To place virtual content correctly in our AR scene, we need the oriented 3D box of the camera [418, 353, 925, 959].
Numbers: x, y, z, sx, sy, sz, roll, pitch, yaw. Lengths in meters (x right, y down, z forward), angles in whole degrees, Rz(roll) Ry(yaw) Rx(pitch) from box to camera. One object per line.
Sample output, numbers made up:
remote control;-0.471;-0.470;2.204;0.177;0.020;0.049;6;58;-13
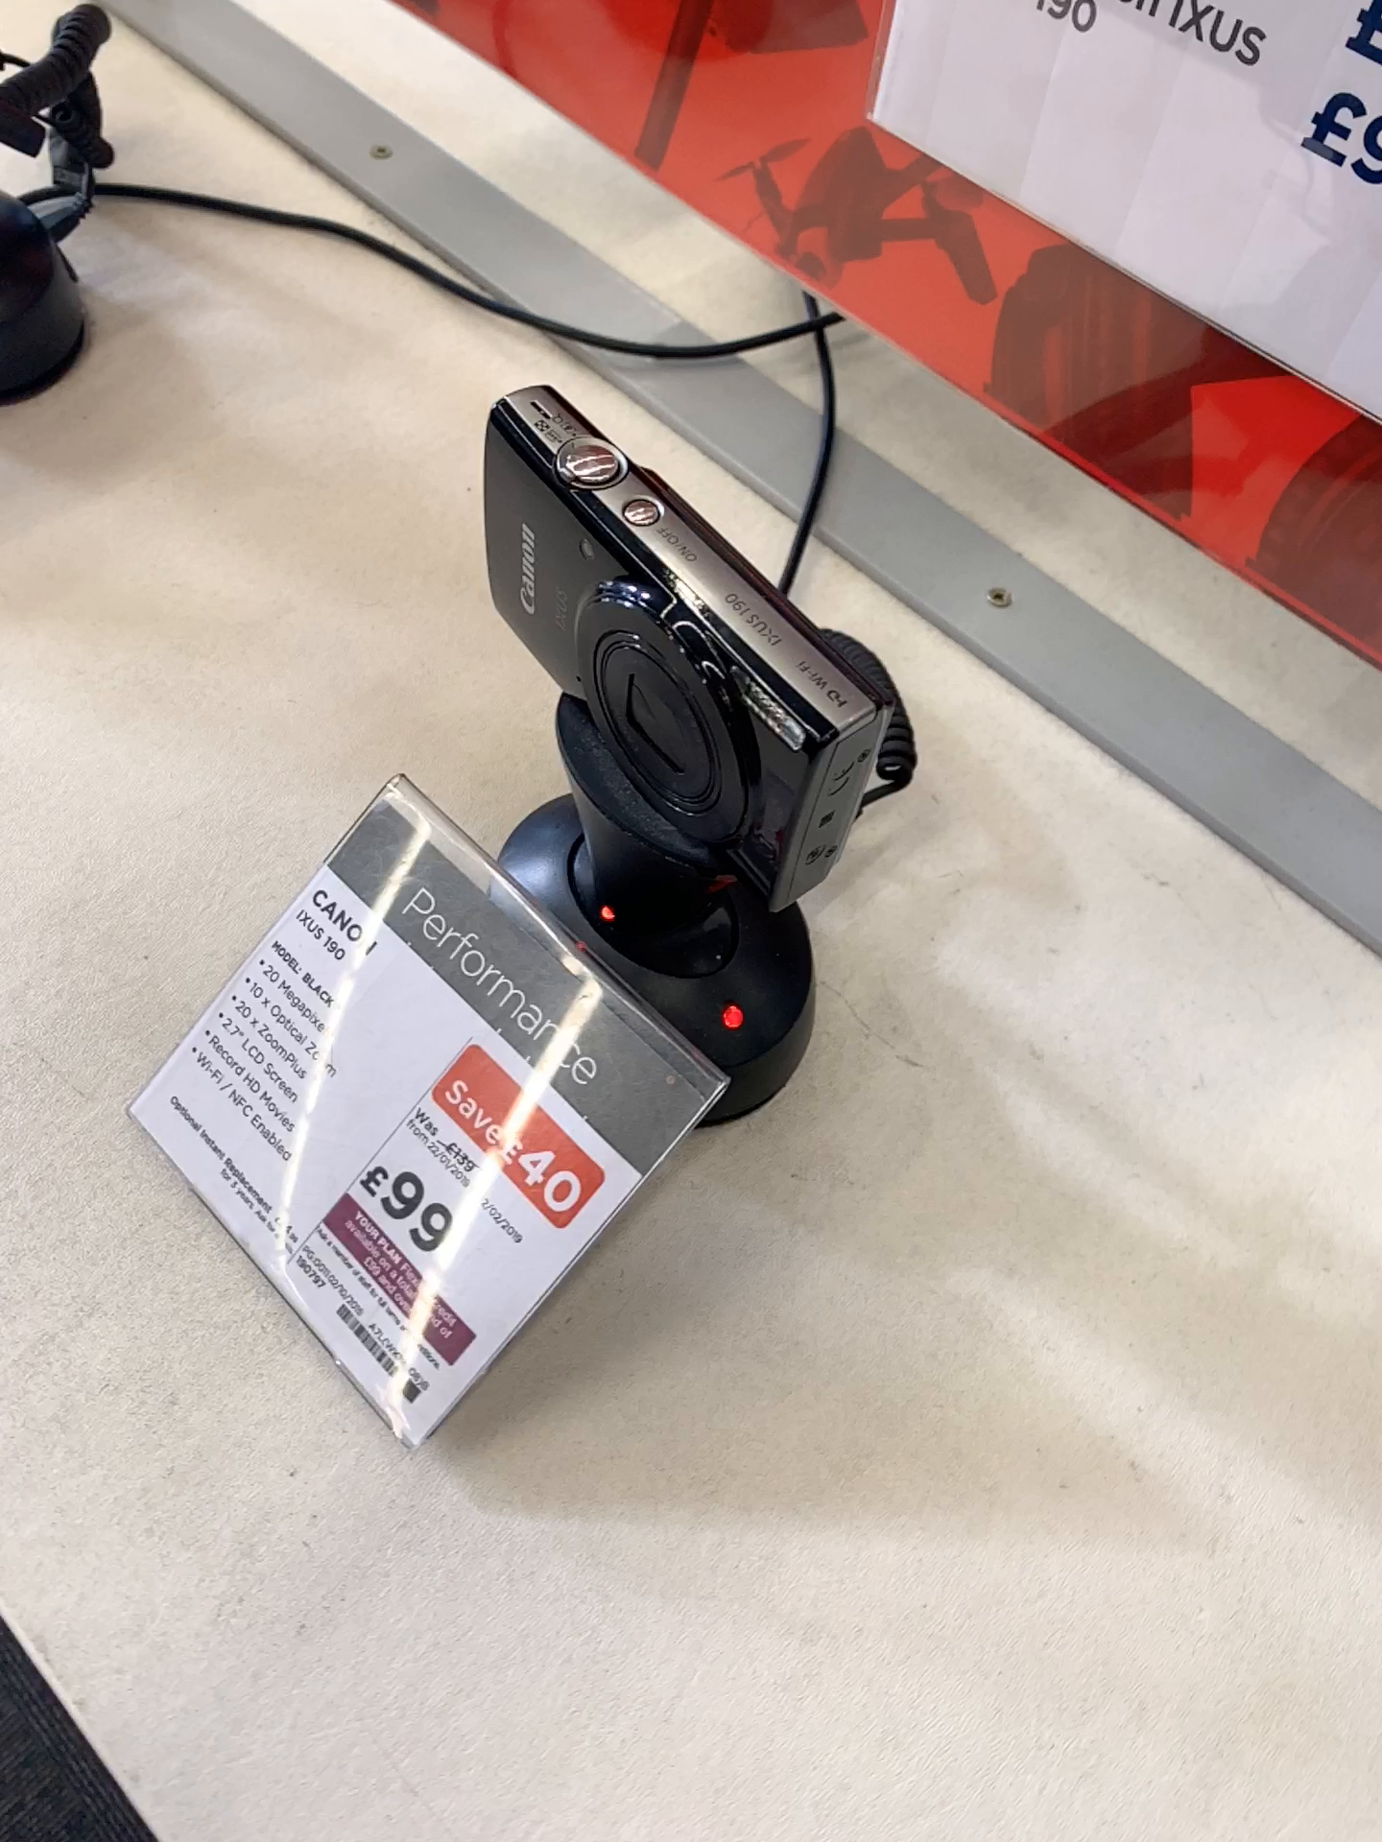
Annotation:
camera;-0.008;-0.049;0.258;0.030;0.050;0.100;-32;66;-22
